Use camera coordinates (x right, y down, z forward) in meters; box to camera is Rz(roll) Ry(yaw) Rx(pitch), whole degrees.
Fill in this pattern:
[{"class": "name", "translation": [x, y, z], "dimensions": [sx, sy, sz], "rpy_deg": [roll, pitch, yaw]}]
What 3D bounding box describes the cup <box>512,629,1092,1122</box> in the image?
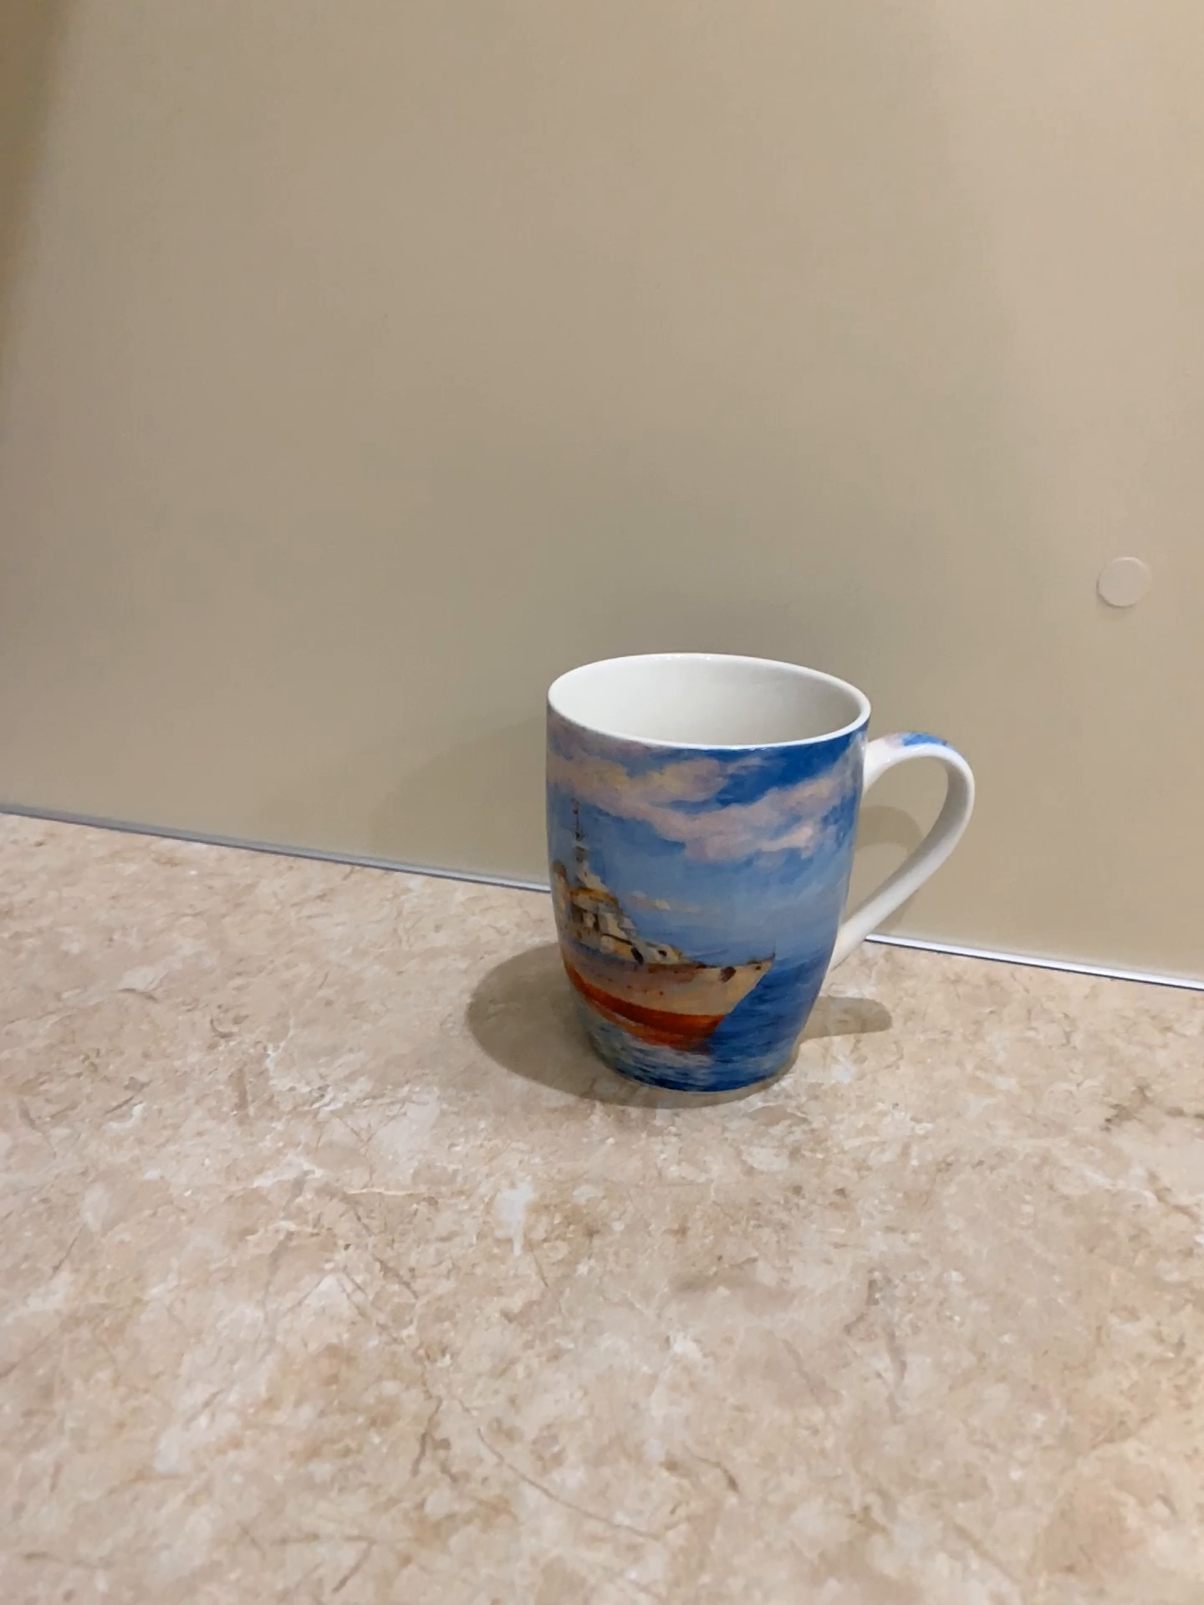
[{"class": "cup", "translation": [0.044, 0.011, 0.319], "dimensions": [0.114, 0.087, 0.083], "rpy_deg": [-6, 23, -19]}]
